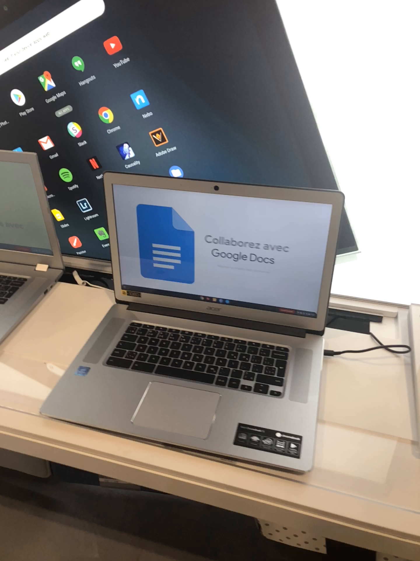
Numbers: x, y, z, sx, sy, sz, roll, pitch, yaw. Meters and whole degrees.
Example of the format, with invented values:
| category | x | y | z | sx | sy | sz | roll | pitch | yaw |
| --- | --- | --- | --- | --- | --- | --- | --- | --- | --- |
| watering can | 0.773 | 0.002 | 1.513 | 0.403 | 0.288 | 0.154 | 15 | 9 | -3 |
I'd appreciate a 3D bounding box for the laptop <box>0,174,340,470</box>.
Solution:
| category | x | y | z | sx | sy | sz | roll | pitch | yaw |
| --- | --- | --- | --- | --- | --- | --- | --- | --- | --- |
| laptop | -0.024 | 0.033 | 0.656 | 0.371 | 0.242 | 0.283 | 8 | 36 | 12 |
